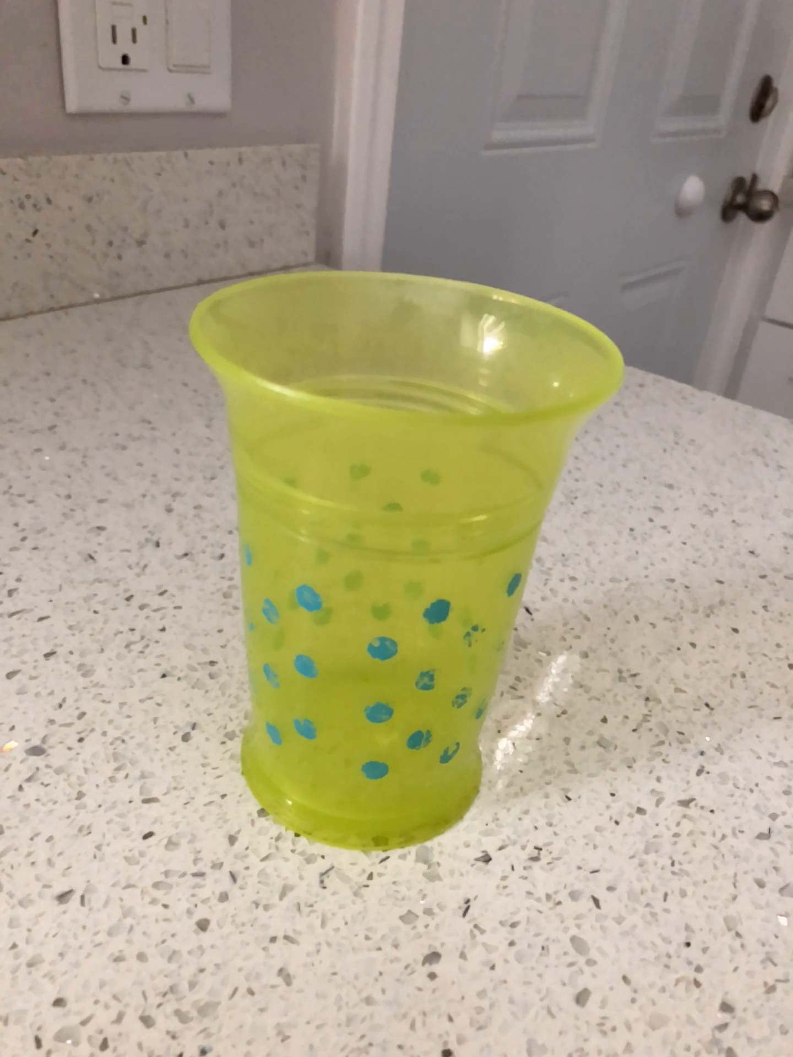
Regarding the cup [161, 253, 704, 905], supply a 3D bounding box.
[{"bbox_3d":[-0.001,0.005,0.195,0.078,0.109,0.073,5,31,-3],"label":"cup"}]
